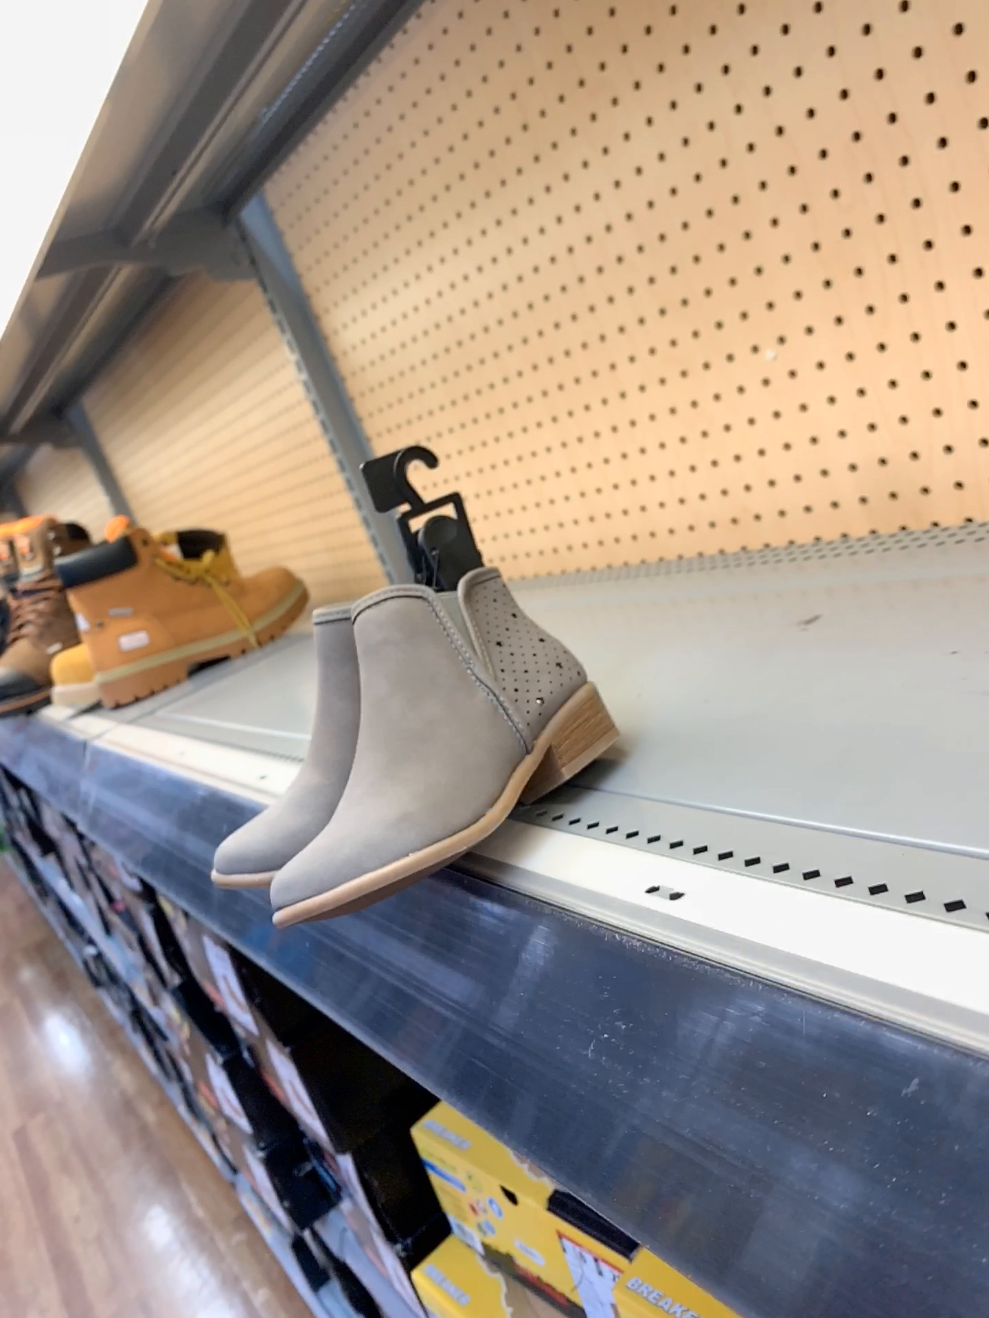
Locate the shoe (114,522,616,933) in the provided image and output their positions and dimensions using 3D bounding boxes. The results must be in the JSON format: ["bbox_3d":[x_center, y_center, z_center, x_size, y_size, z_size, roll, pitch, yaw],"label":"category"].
[{"bbox_3d":[-0.062,0.024,0.490,0.196,0.103,0.087,-26,10,-16],"label":"shoe"}]

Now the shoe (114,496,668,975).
[{"bbox_3d":[-0.038,0.027,0.427,0.186,0.113,0.074,-30,-1,-34],"label":"shoe"}]
